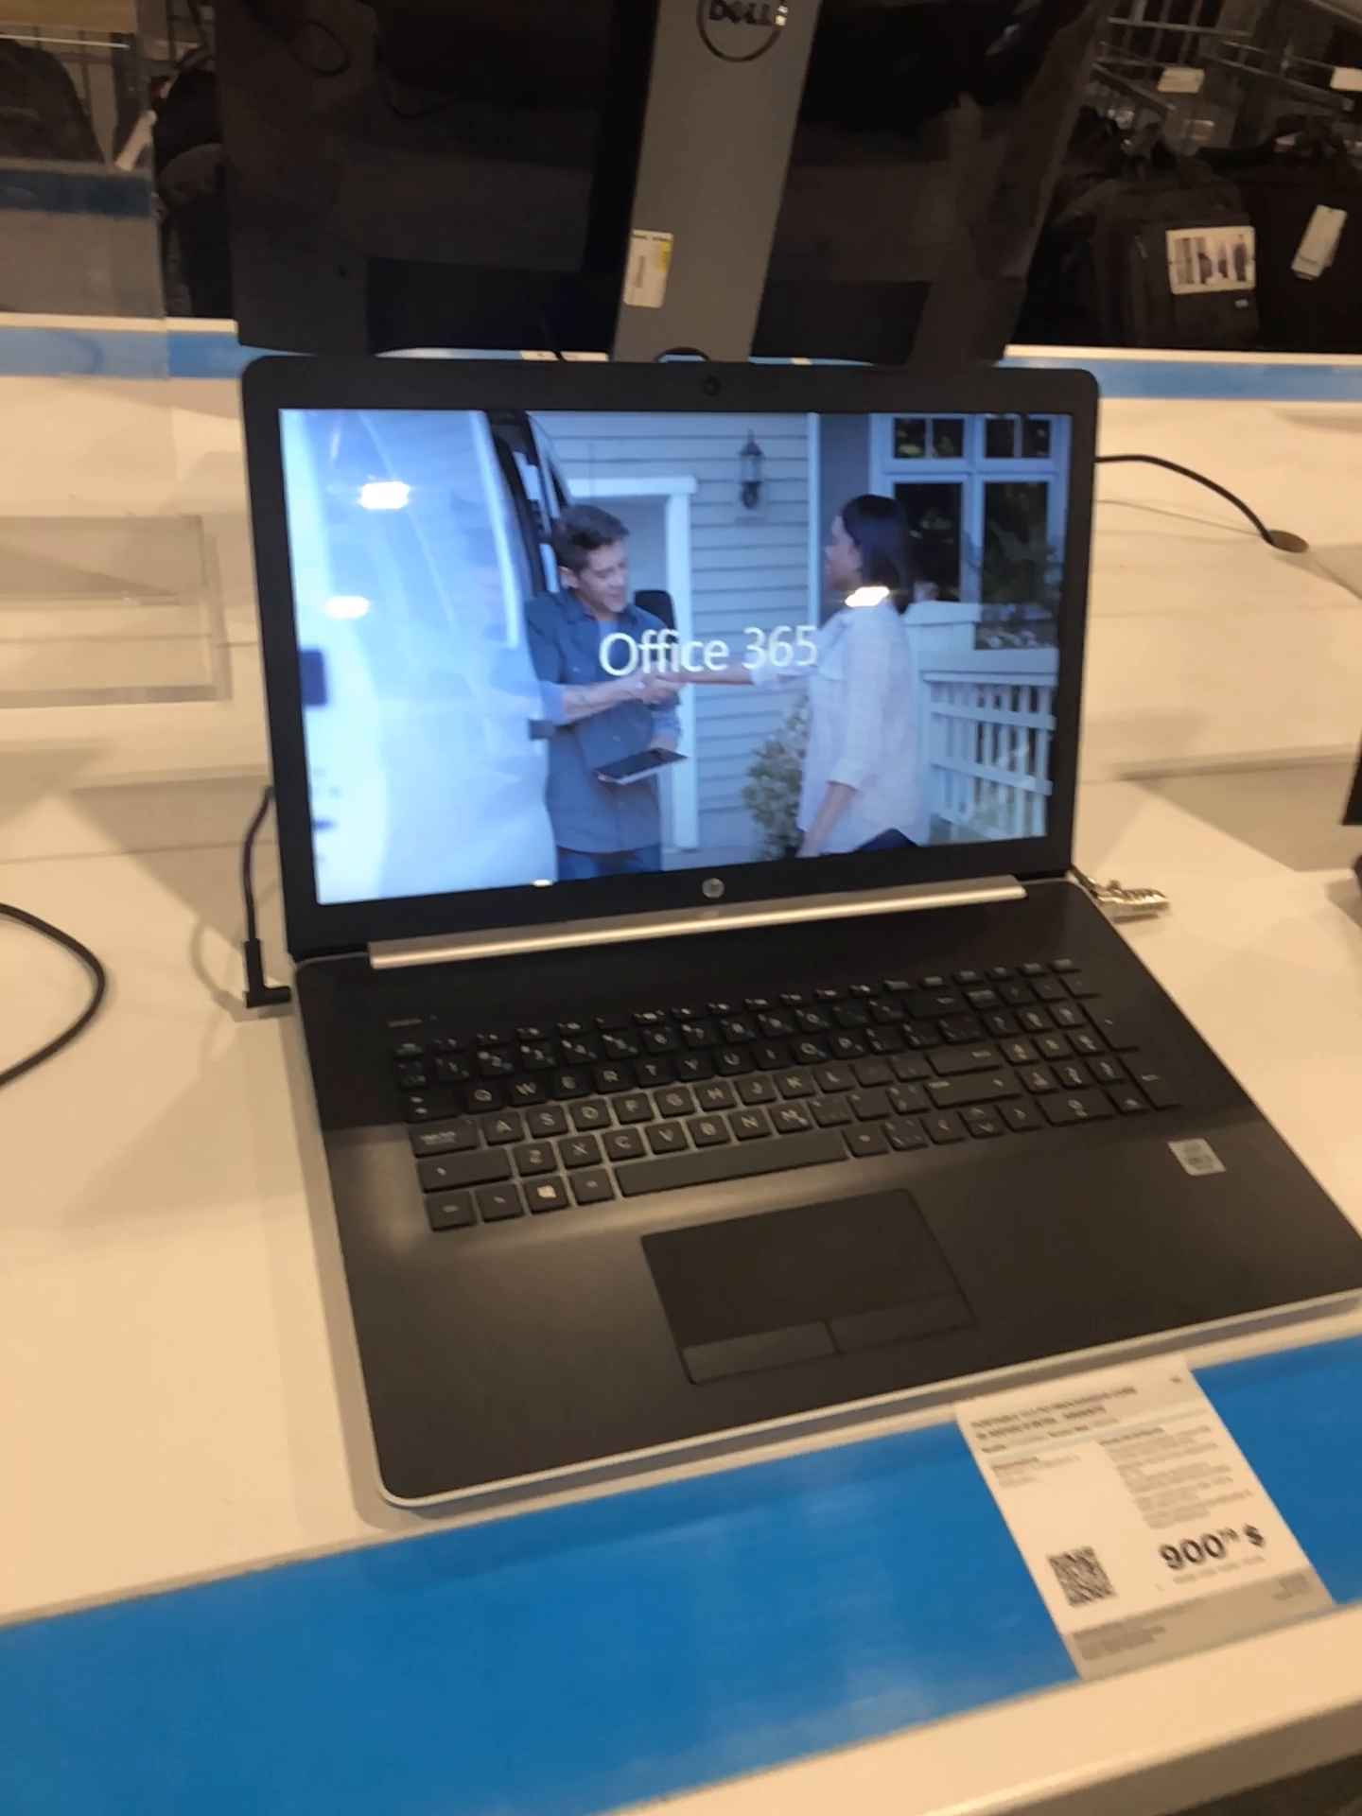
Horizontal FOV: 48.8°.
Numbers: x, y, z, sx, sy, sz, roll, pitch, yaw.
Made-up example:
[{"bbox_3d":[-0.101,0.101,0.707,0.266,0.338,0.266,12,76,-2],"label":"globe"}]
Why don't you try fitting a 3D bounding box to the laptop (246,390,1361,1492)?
[{"bbox_3d":[0.055,-0.031,0.629,0.411,0.242,0.381,-6,39,-18],"label":"laptop"}]
